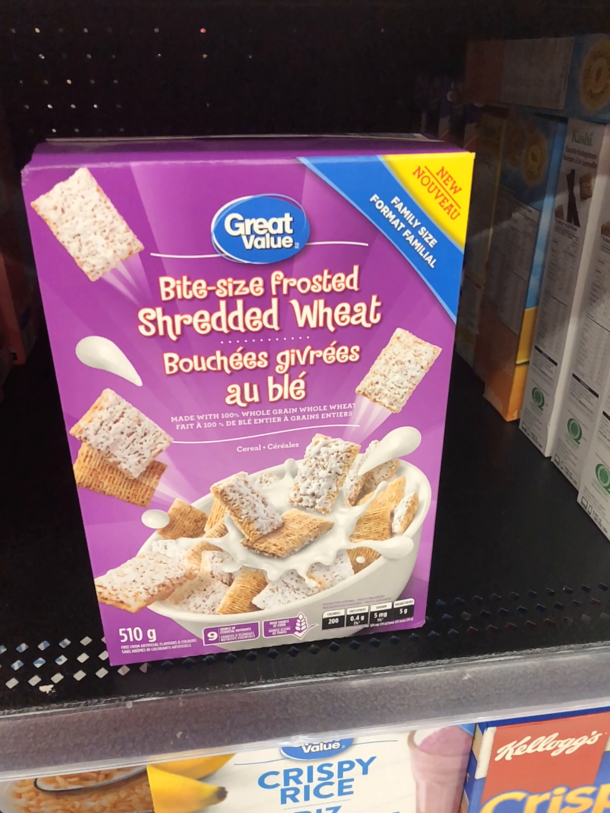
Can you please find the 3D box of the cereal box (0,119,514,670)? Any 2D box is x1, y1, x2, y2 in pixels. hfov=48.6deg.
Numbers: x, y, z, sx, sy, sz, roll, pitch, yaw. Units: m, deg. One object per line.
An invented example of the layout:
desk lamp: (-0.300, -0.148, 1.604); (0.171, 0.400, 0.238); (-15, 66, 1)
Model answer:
cereal box: (-0.022, 0.001, 0.363); (0.210, 0.279, 0.070); (-4, 27, -8)
